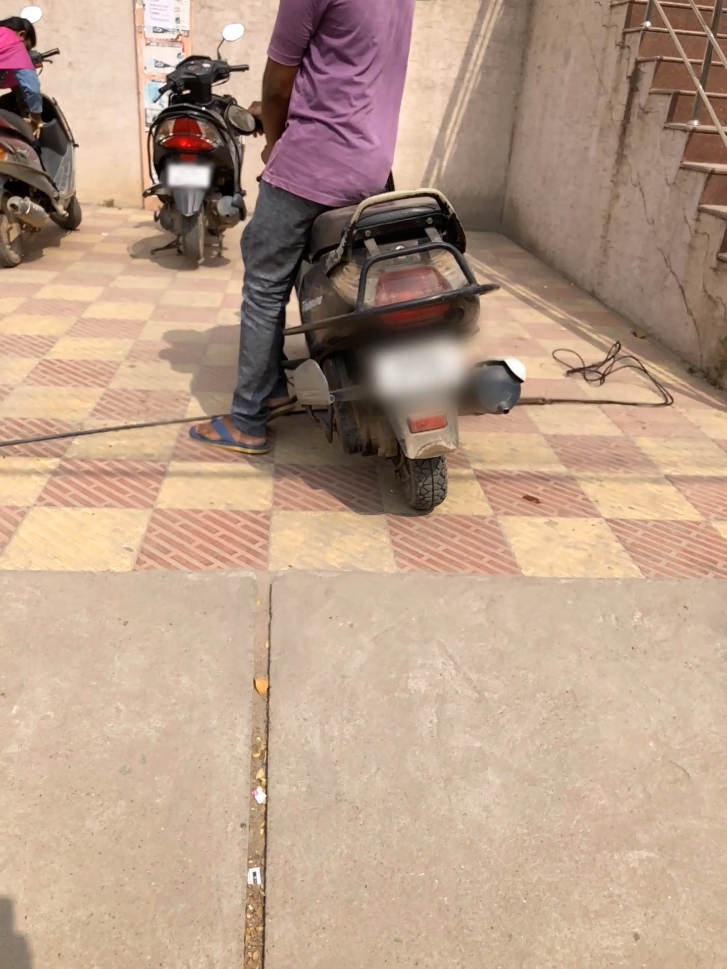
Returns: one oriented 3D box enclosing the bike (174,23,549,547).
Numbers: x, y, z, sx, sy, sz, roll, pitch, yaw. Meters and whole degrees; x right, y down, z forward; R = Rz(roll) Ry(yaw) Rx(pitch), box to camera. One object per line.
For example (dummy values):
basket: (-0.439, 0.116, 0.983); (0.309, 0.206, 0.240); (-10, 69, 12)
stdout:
bike: (-0.192, -0.711, 2.461); (0.636, 1.117, 1.601); (-3, 27, -14)
